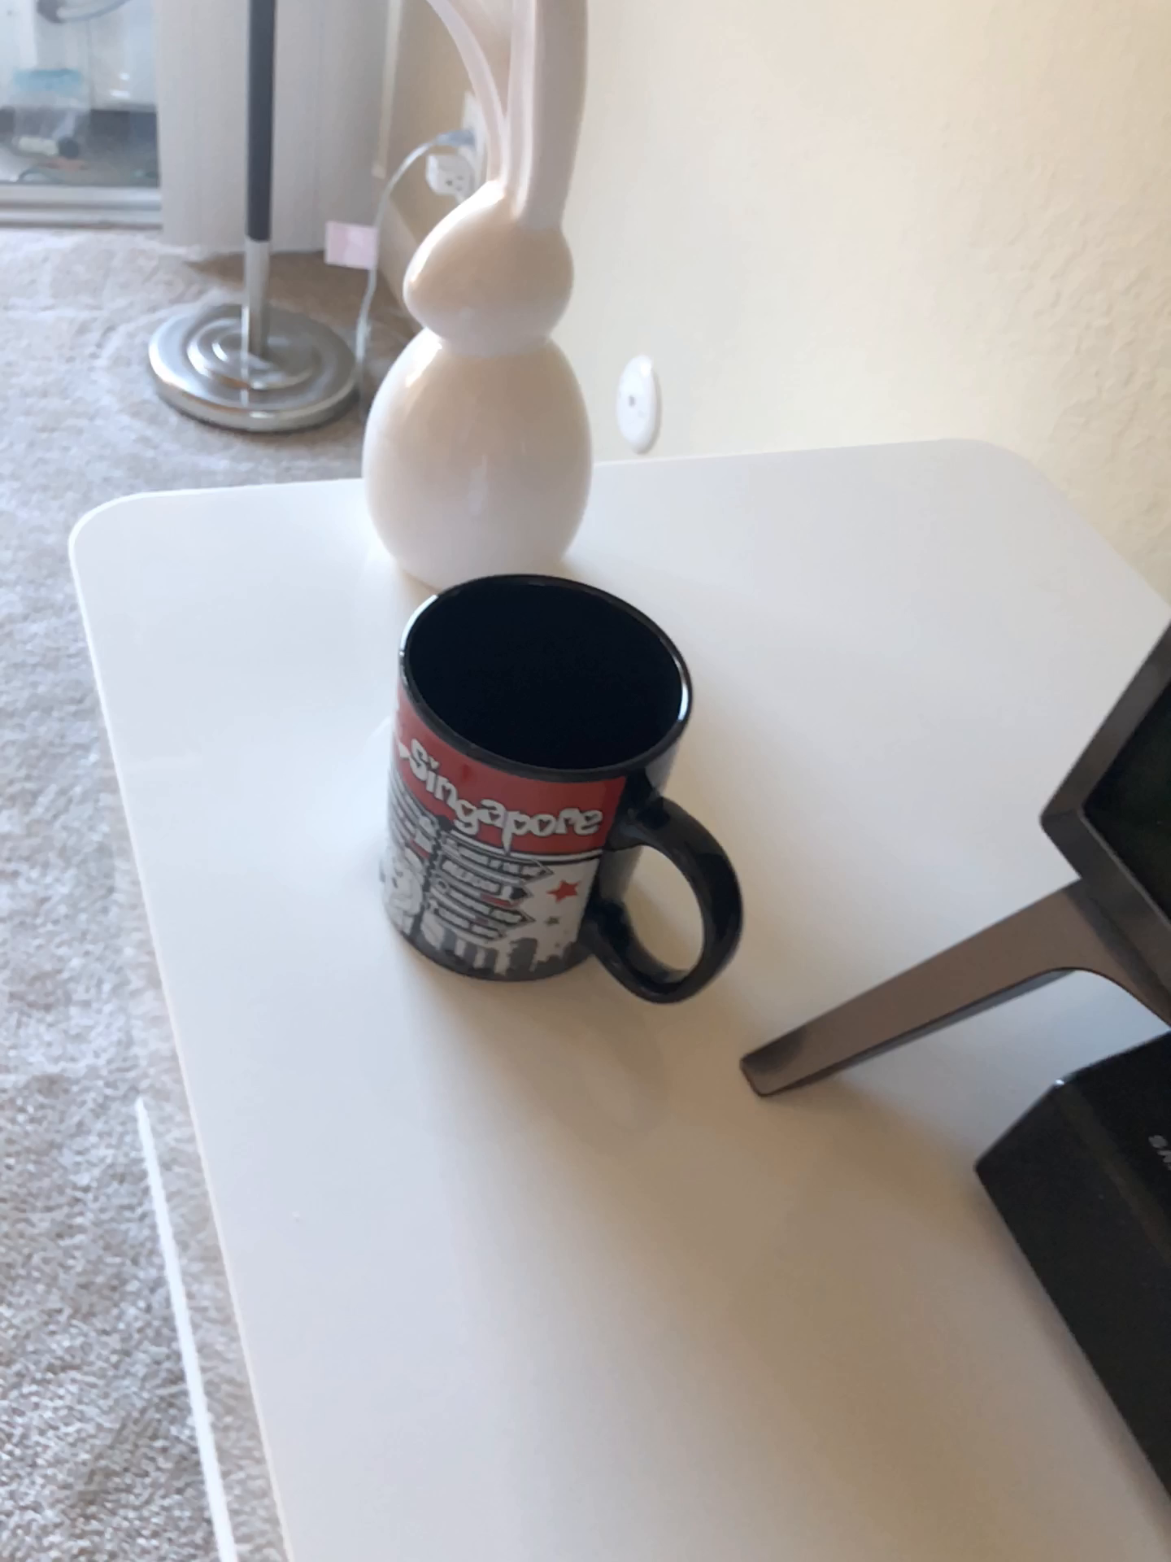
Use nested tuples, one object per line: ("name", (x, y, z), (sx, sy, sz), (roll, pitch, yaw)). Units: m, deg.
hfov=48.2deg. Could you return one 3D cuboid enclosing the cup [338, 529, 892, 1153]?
("cup", (0.000, 0.015, 0.380), (0.080, 0.110, 0.120), (-30, 61, -35))
